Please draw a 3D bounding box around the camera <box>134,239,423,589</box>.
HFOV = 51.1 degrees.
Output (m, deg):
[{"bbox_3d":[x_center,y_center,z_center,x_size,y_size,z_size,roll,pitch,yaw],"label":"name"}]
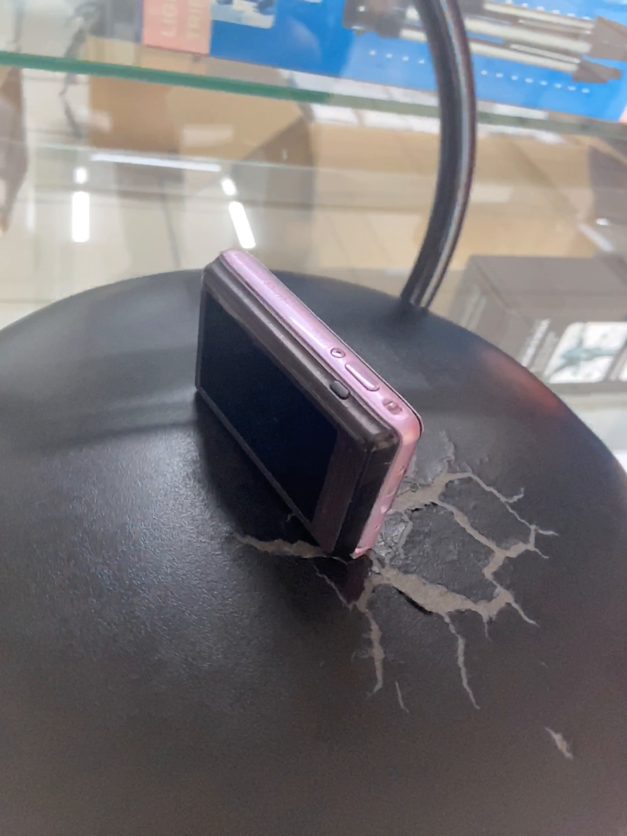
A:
[{"bbox_3d":[-0.018,-0.006,0.202,0.030,0.050,0.100,-22,54,-33],"label":"camera"}]
